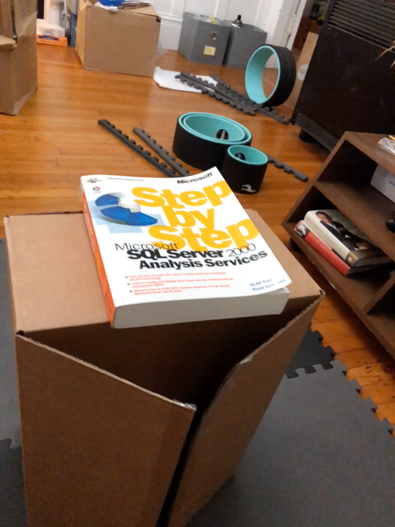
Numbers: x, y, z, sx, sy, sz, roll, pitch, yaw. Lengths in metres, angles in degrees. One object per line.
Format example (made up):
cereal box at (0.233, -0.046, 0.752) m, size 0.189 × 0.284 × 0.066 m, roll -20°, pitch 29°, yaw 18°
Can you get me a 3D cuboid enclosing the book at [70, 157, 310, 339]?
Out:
book at (-0.023, -0.033, 0.499) m, size 0.200 × 0.050 × 0.241 m, roll -2°, pitch 42°, yaw -26°
